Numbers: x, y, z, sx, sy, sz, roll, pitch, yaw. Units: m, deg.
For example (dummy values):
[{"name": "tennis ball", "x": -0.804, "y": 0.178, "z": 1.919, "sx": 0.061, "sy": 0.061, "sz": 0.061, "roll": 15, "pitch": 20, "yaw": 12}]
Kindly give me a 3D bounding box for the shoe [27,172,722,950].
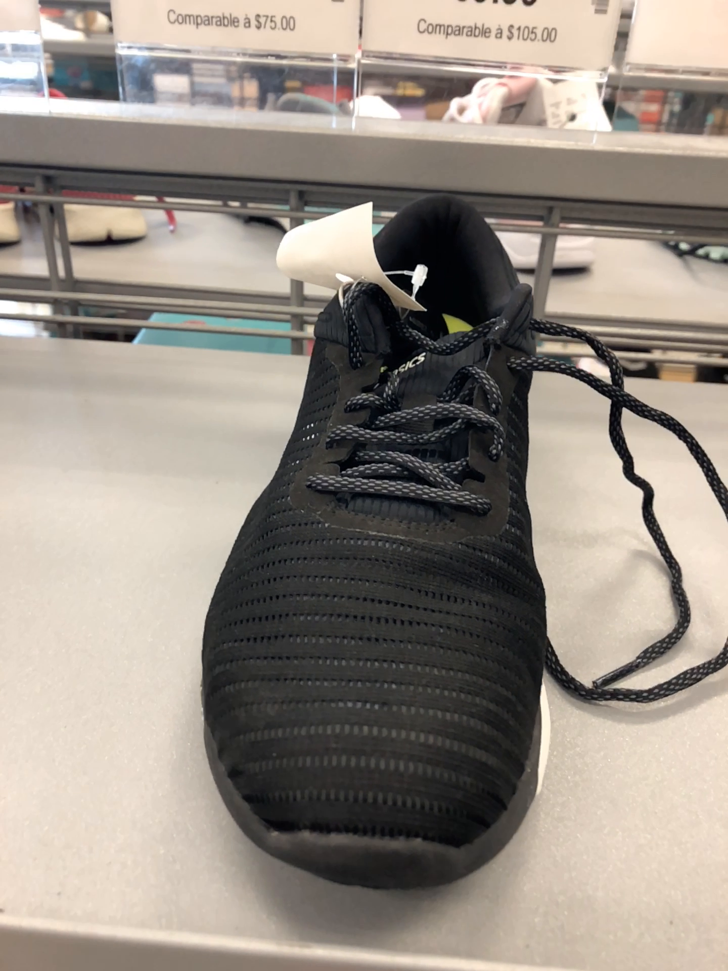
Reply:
[{"name": "shoe", "x": 0.008, "y": -0.020, "z": 0.299, "sx": 0.120, "sy": 0.119, "sz": 0.302, "roll": 4, "pitch": 32, "yaw": 2}]
